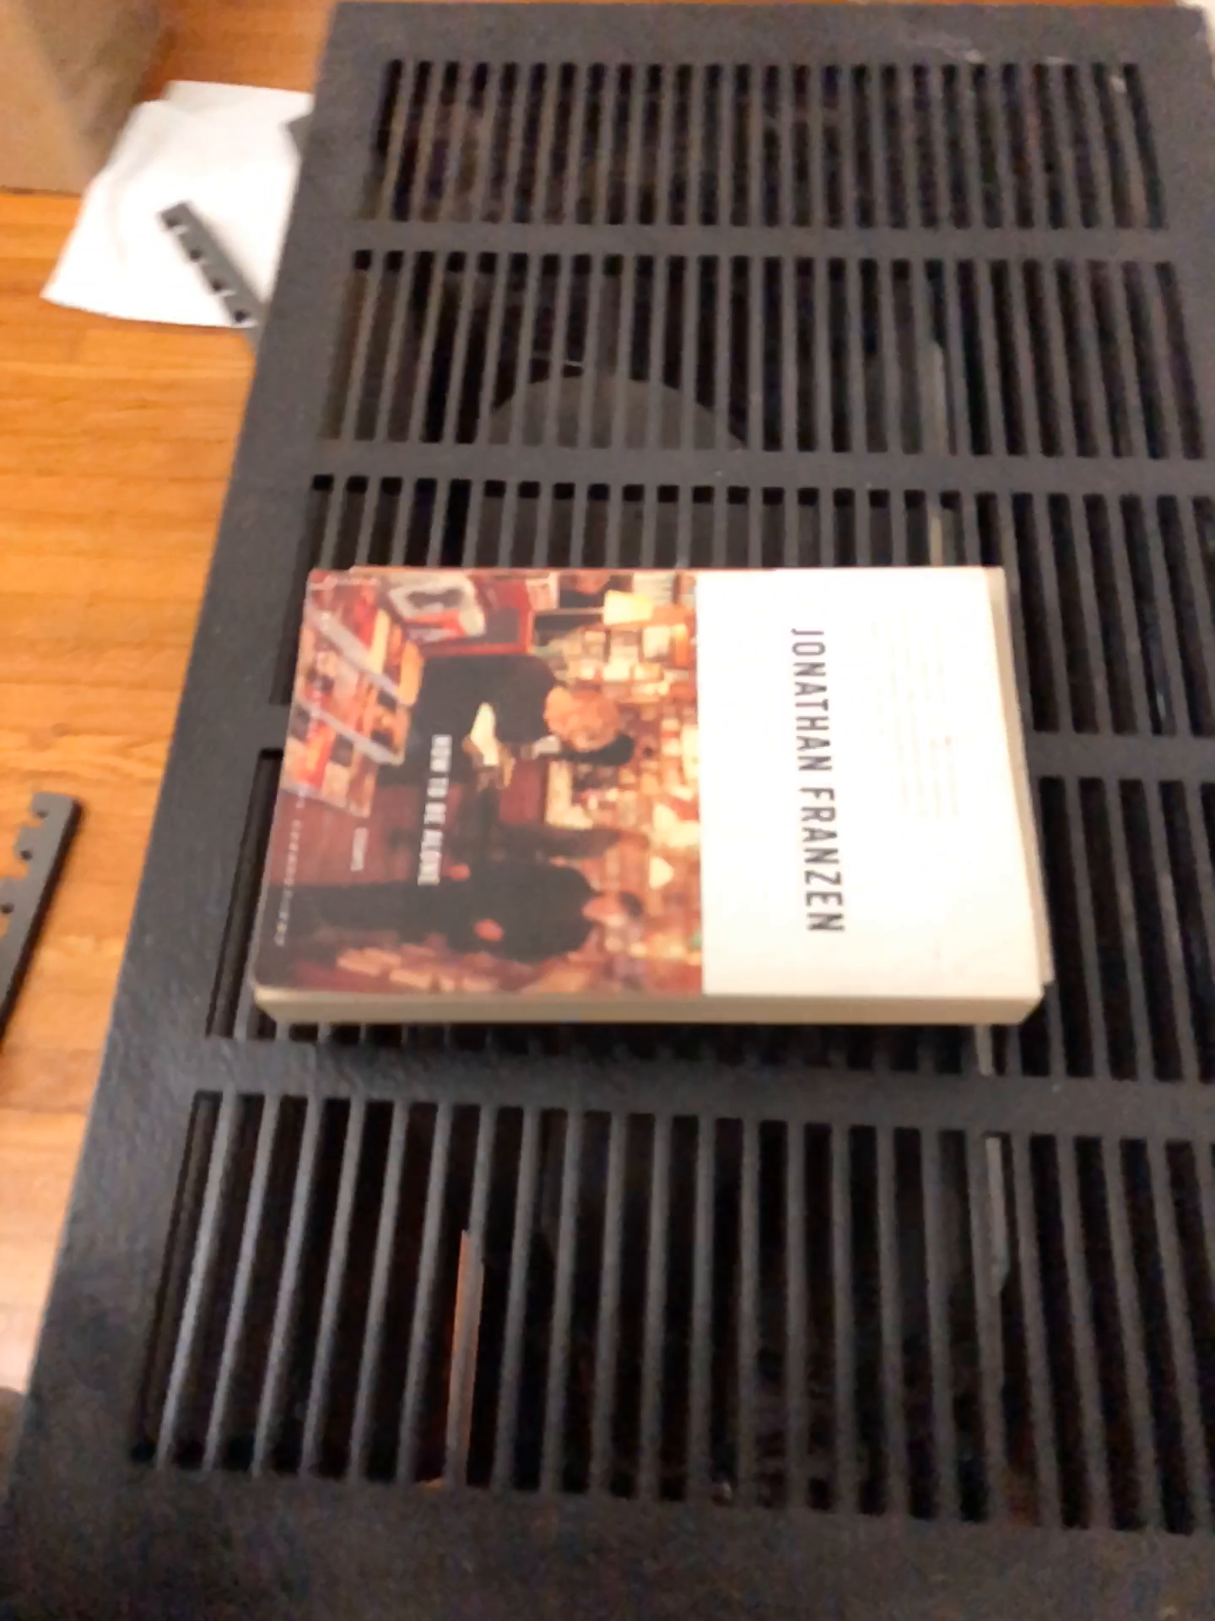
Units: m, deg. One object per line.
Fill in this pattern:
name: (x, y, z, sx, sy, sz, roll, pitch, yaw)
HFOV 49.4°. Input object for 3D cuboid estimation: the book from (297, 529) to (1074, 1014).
book: (0.021, -0.015, 0.403, 0.210, 0.030, 0.150, 0, 64, 0)

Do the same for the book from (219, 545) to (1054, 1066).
book: (0.007, -0.005, 0.378, 0.210, 0.030, 0.150, 0, 64, 0)
